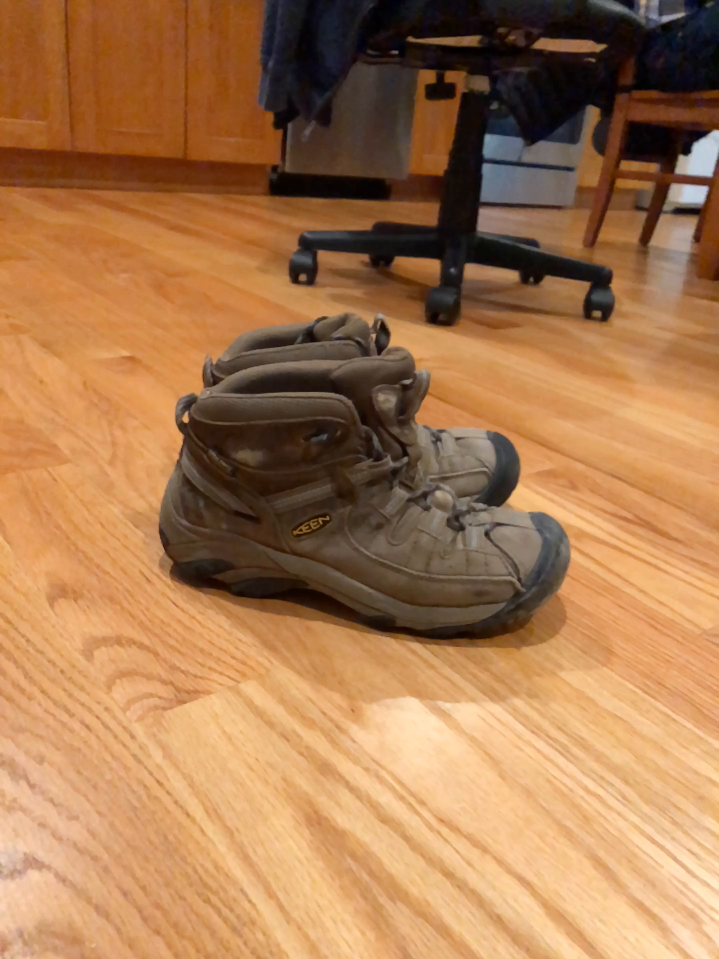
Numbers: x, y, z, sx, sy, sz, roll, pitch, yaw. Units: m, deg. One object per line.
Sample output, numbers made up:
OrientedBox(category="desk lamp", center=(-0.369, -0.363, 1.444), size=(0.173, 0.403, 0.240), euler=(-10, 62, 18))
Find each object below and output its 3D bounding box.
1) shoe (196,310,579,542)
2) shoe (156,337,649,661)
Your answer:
OrientedBox(category="shoe", center=(0.010, -0.040, 0.601), size=(0.259, 0.139, 0.108), euler=(1, 22, -12))
OrientedBox(category="shoe", center=(0.019, 0.006, 0.491), size=(0.259, 0.139, 0.108), euler=(7, 22, 1))
